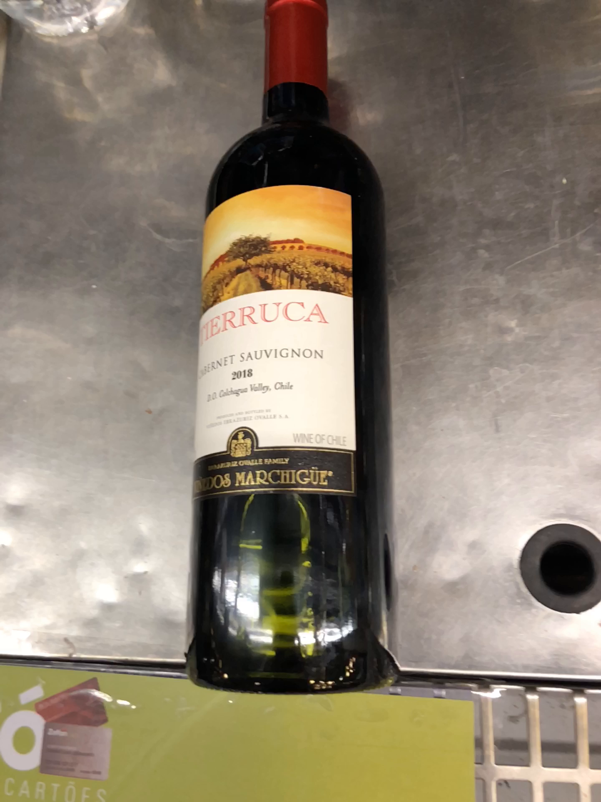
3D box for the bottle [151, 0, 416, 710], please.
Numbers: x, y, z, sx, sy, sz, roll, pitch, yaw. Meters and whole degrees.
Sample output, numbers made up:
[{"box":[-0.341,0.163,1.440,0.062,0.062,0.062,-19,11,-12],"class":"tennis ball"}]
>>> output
[{"box":[-0.003,-0.054,0.260,0.080,0.050,0.310,-3,76,10],"class":"bottle"}]
